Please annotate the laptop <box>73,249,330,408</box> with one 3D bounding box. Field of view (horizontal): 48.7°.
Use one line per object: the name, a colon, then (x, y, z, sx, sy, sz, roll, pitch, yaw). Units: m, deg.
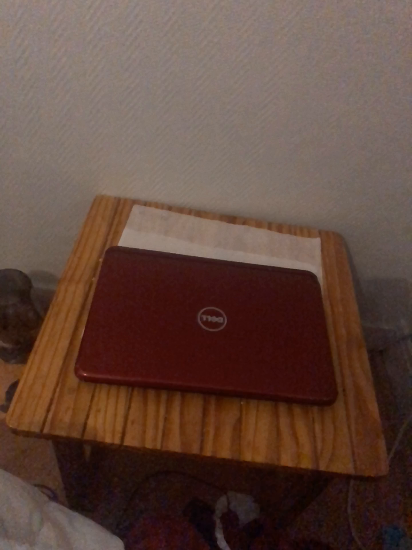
laptop: (0.003, 0.073, 0.728, 0.365, 0.011, 0.247, 7, 48, -4)
